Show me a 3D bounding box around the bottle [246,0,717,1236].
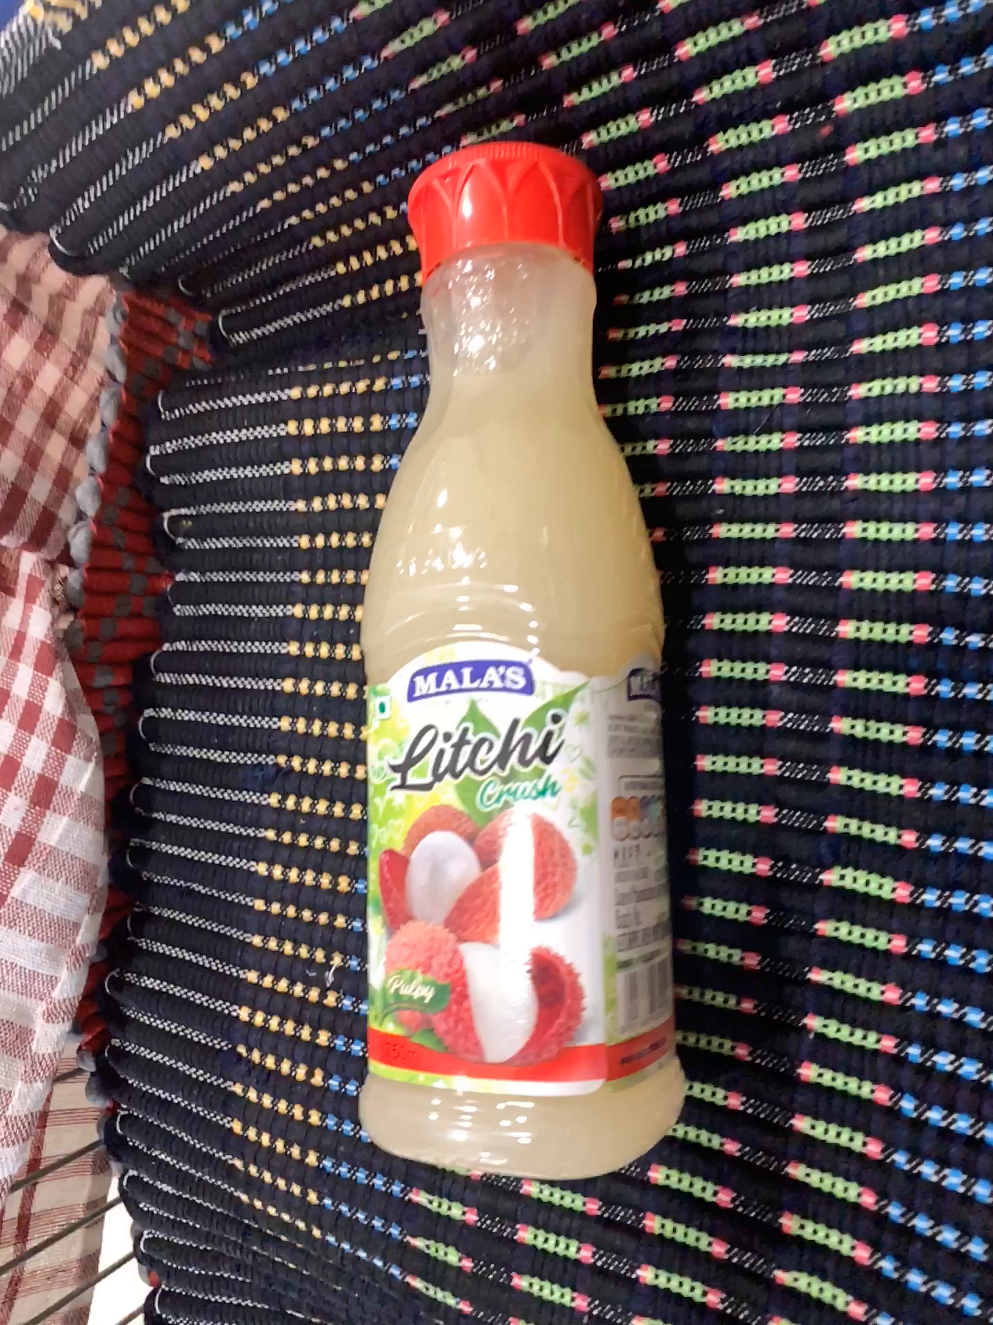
[{"bbox_3d":[-0.002,-0.022,0.248,0.080,0.080,0.260,-4,83,26],"label":"bottle"}]
